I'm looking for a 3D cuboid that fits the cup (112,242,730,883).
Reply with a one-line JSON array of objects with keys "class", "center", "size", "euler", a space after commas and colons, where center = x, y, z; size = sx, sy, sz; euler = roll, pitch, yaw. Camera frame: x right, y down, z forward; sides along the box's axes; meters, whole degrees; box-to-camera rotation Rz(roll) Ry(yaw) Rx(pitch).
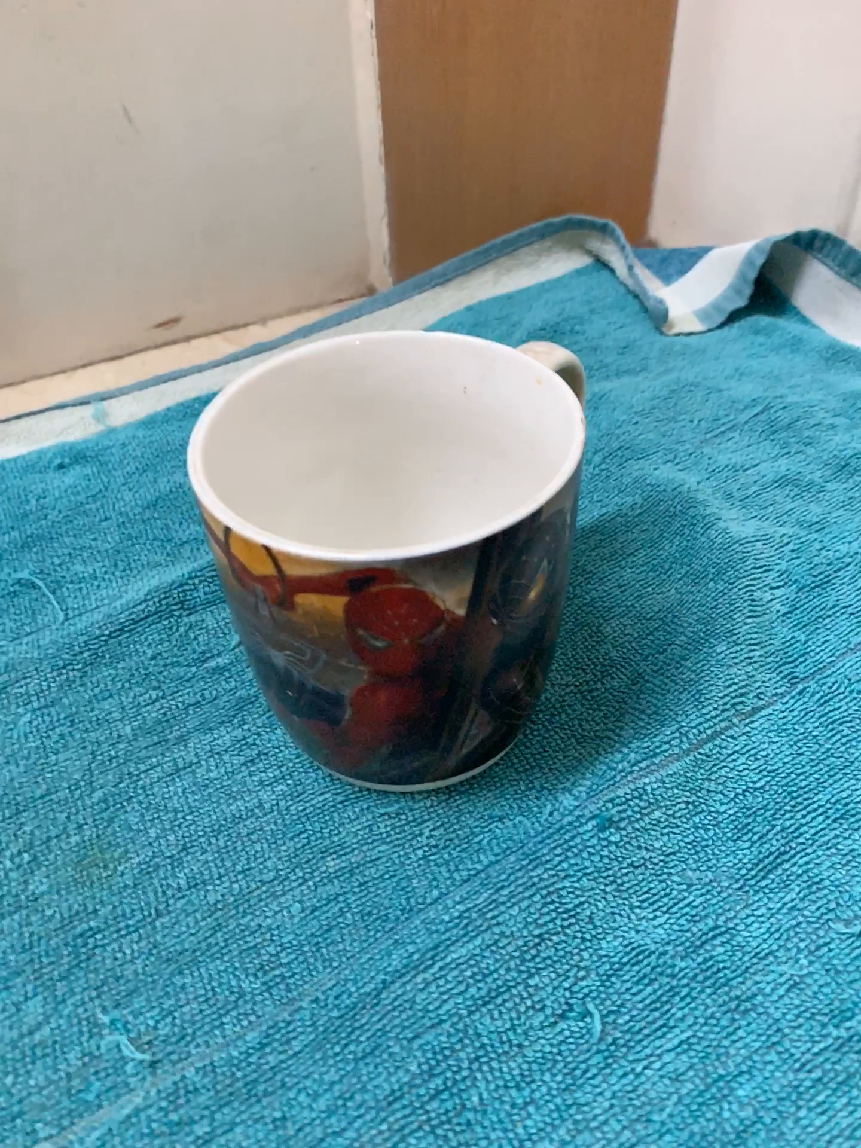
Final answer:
[{"class": "cup", "center": [0.005, -0.012, 0.228], "size": [0.080, 0.089, 0.121], "euler": [26, 49, 28]}]
